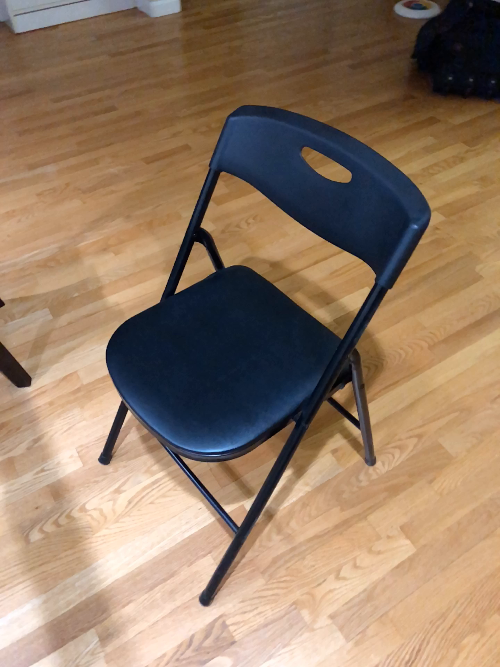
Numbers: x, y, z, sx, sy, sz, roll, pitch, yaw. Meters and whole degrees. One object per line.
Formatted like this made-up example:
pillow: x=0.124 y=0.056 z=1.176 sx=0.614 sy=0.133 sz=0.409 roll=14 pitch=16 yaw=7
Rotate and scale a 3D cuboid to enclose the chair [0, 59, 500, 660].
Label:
chair: x=-0.013 y=0.016 z=1.025 sx=0.681 sy=0.657 sz=0.612 roll=-33 pitch=55 yaw=-25
